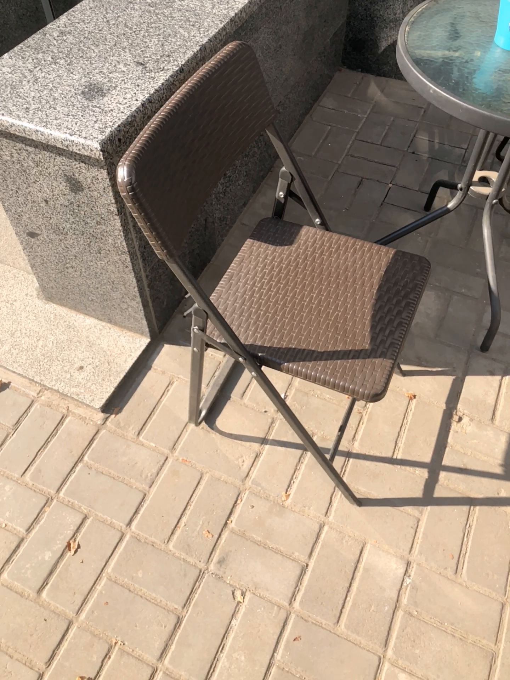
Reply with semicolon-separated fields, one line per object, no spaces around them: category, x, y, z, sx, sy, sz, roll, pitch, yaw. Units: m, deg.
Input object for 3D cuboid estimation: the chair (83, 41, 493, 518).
chair;0.074;-0.067;1.134;0.480;0.777;0.431;19;55;14
